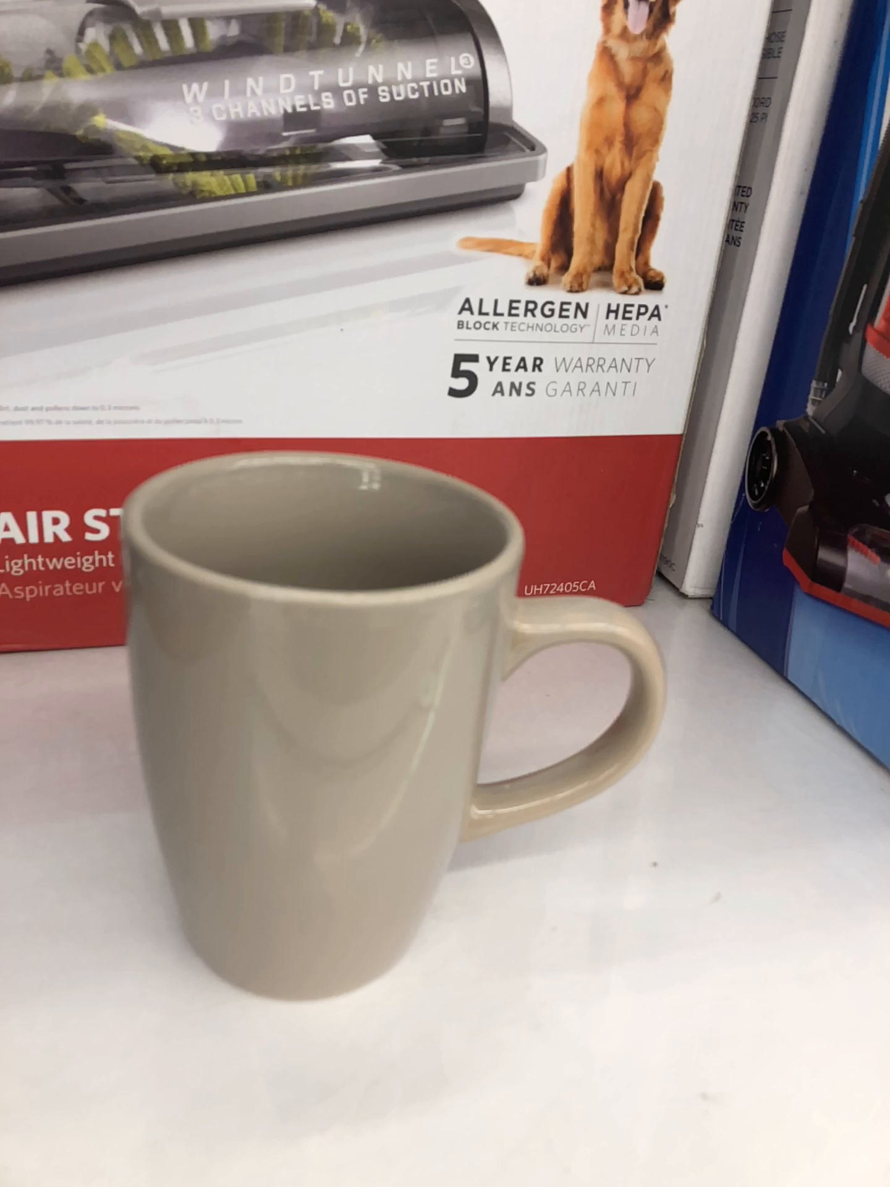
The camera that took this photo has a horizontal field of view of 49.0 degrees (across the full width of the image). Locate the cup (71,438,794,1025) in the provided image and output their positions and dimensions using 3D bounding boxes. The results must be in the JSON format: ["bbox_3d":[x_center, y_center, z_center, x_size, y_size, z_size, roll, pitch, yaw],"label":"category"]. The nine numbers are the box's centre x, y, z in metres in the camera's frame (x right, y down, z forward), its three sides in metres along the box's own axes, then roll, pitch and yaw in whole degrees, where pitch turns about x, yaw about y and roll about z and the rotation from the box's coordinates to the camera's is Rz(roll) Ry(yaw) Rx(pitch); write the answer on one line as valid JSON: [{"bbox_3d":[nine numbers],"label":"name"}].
[{"bbox_3d":[-0.010,0.025,0.225,0.125,0.092,0.088,1,26,-11],"label":"cup"}]
